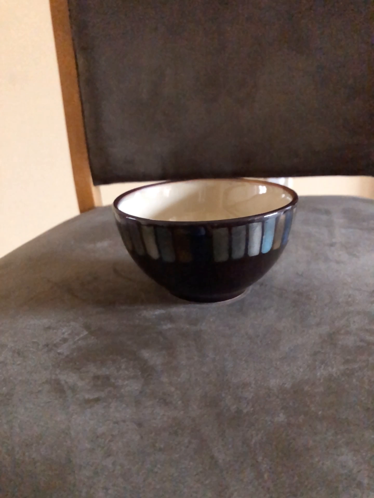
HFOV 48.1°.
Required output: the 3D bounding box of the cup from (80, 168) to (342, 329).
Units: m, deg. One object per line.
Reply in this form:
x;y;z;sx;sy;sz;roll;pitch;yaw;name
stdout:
0.013;-0.013;0.261;0.109;0.044;0.115;-3;22;1;cup
